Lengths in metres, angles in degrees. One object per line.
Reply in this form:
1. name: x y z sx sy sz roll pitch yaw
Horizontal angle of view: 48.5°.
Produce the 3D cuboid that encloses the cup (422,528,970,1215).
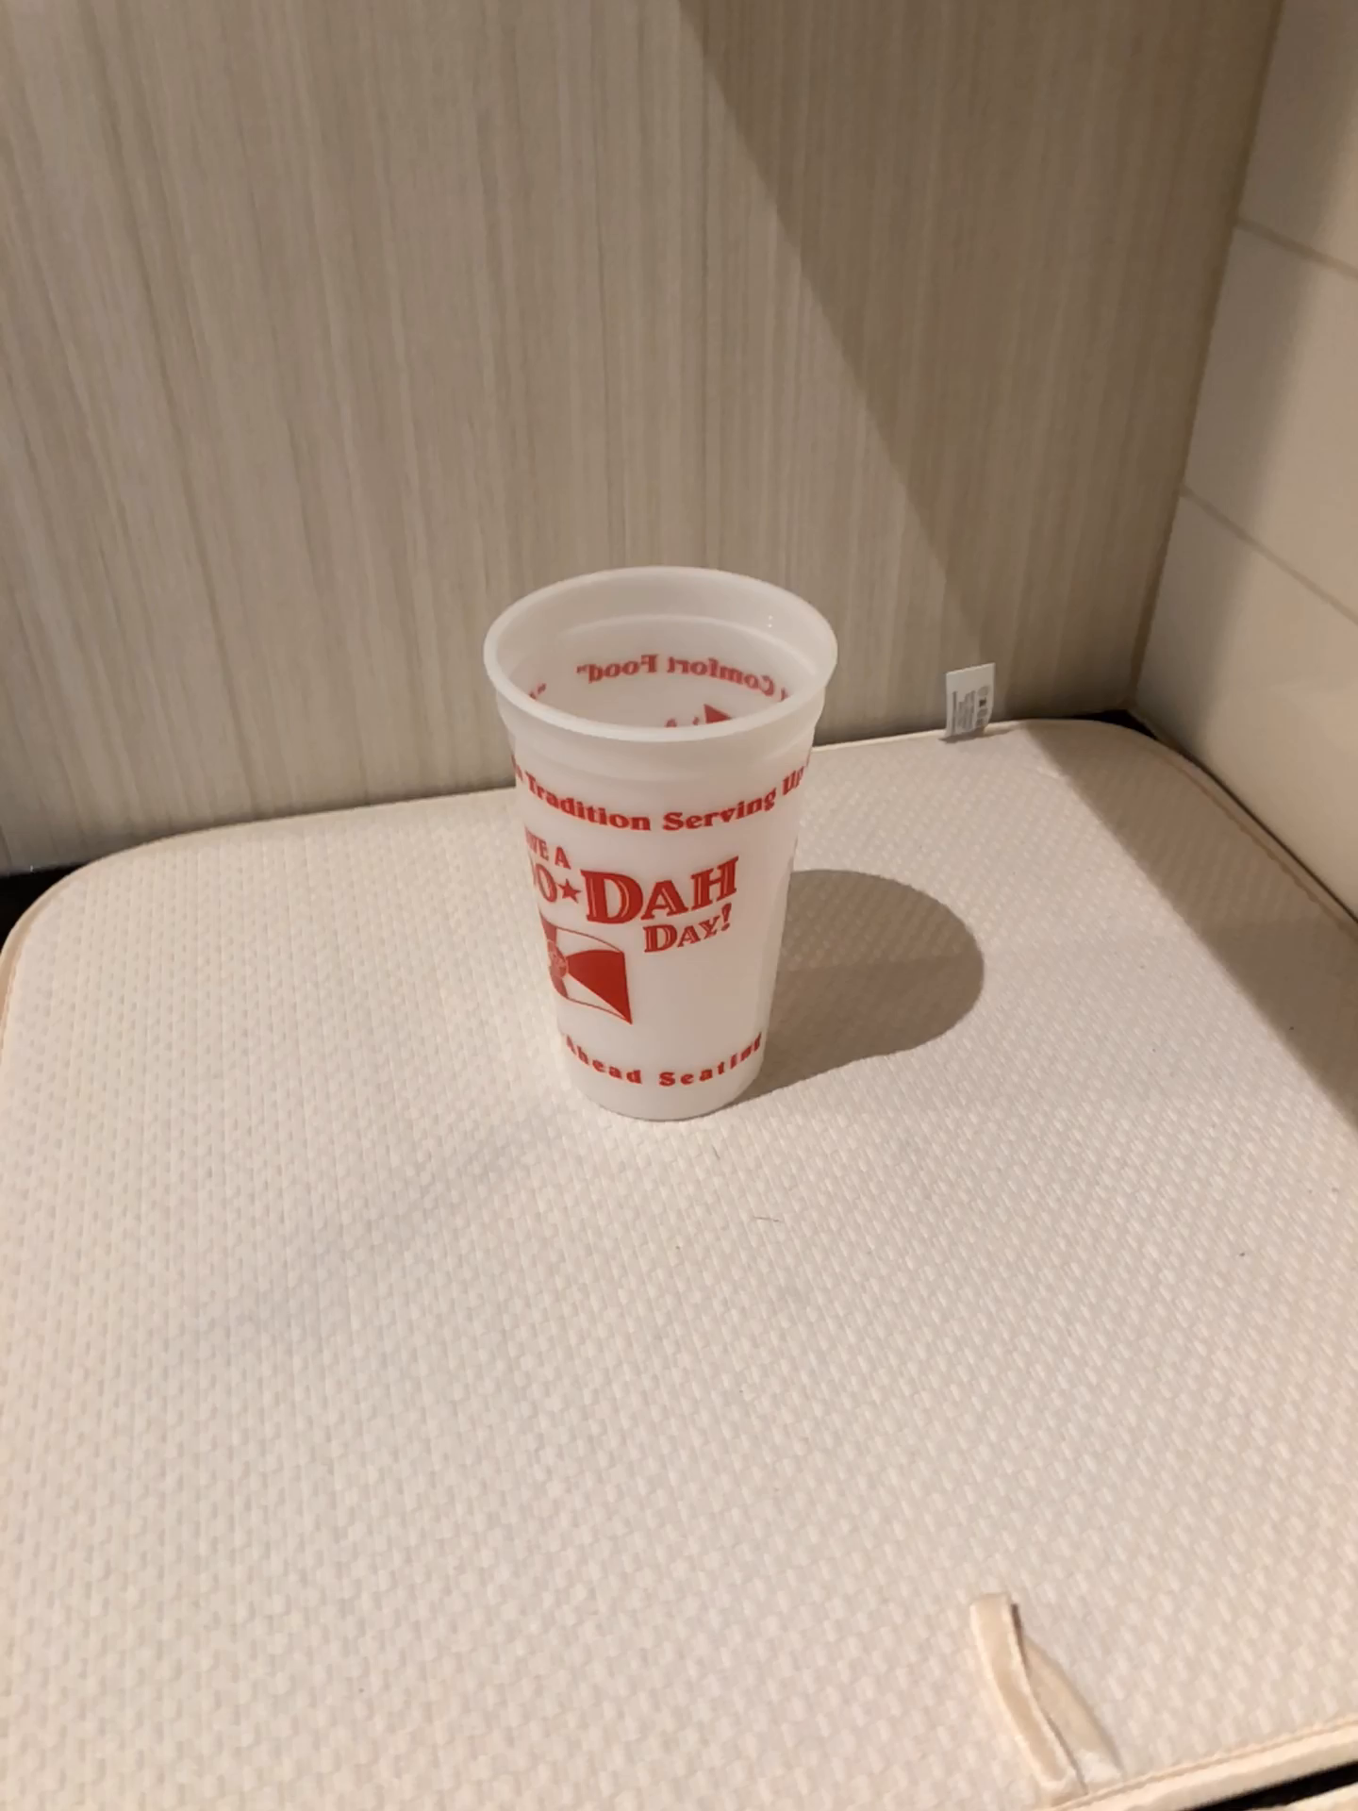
1. cup: 0.004 -0.013 0.431 0.100 0.139 0.100 0 37 0
